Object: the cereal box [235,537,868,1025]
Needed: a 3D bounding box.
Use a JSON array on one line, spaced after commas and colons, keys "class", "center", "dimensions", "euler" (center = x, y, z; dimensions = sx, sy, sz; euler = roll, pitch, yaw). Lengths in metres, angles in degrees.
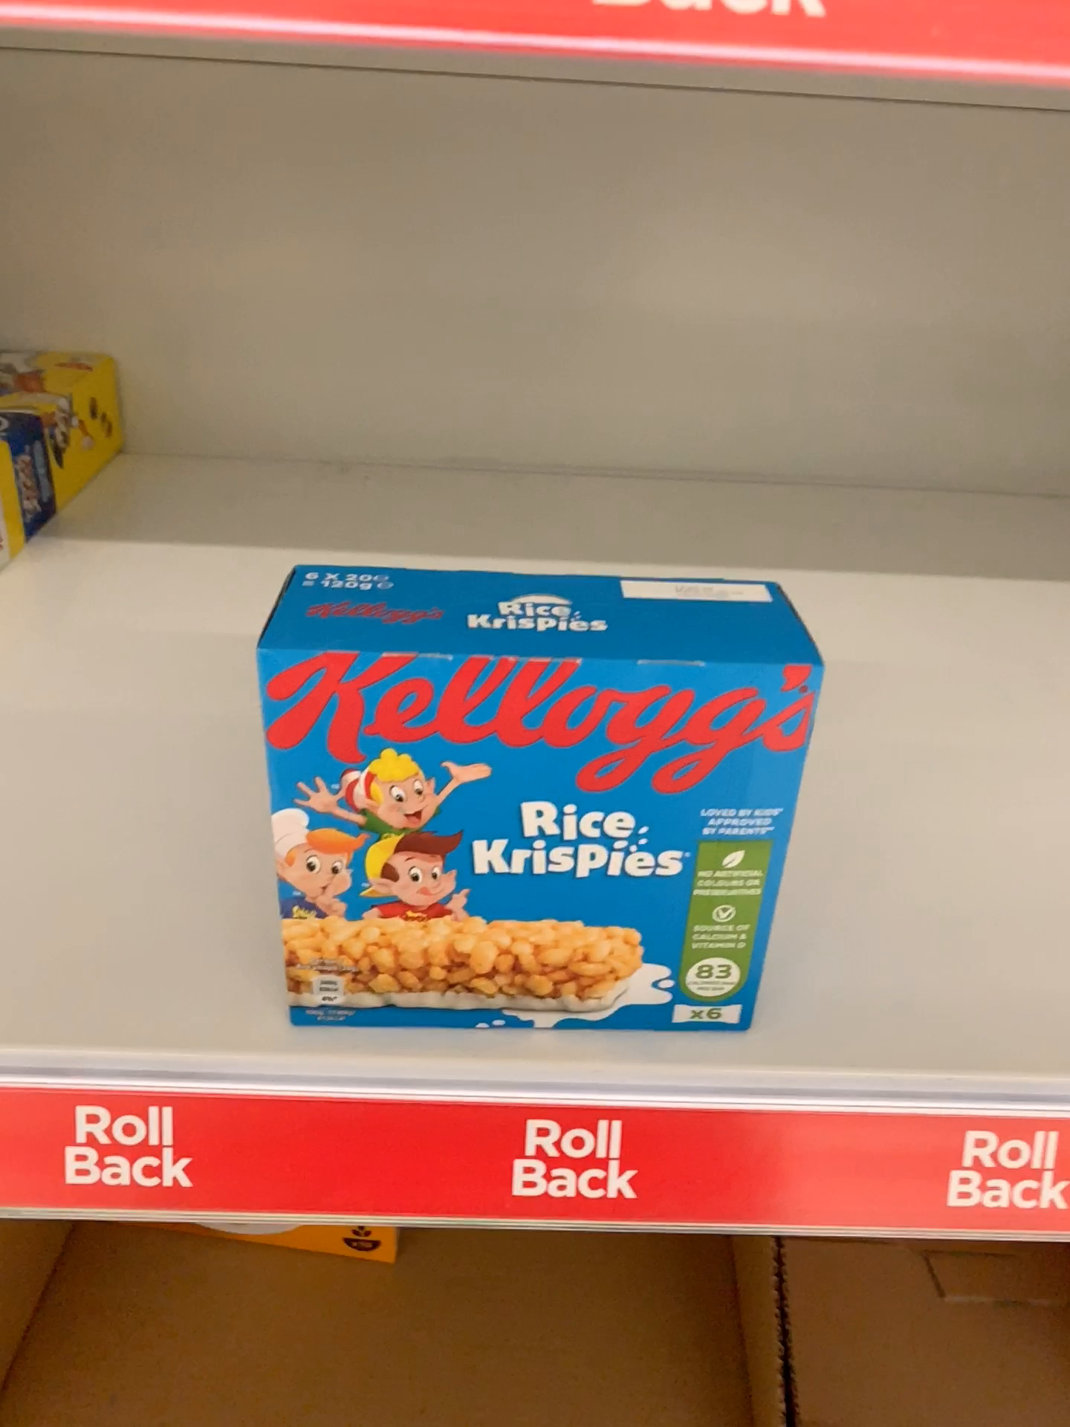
[{"class": "cereal box", "center": [0.001, 0.023, 0.315], "dimensions": [0.150, 0.129, 0.050], "euler": [2, 31, -3]}]
